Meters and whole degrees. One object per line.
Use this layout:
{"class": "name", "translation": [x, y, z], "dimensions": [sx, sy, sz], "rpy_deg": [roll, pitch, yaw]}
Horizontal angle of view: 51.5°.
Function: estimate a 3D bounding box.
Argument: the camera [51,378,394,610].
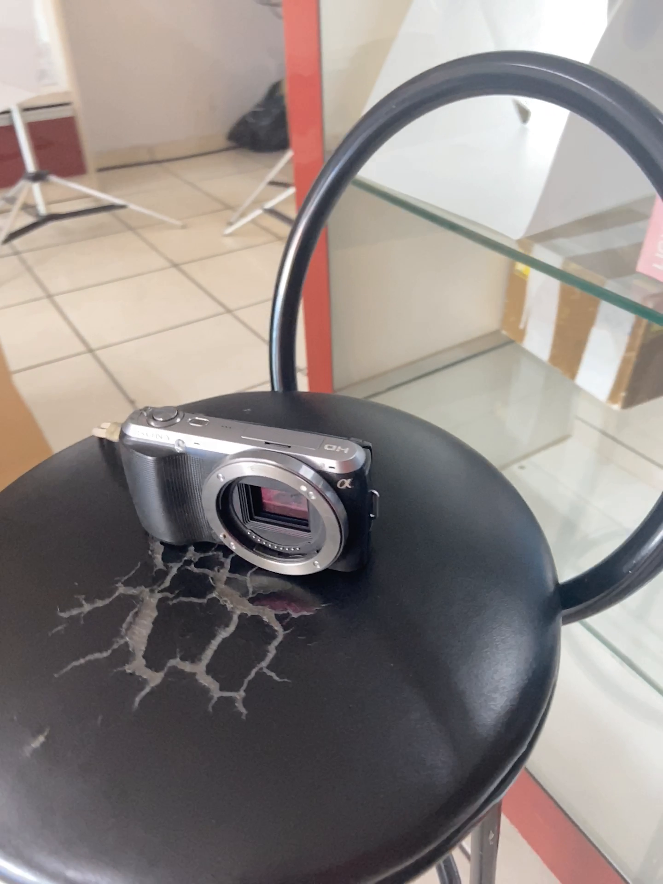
{"class": "camera", "translation": [-0.039, 0.018, 0.271], "dimensions": [0.120, 0.060, 0.040], "rpy_deg": [9, 38, 15]}
